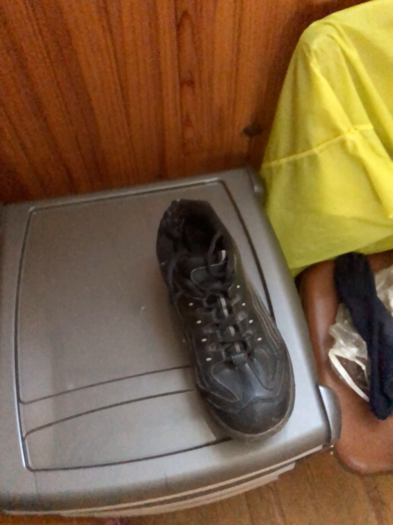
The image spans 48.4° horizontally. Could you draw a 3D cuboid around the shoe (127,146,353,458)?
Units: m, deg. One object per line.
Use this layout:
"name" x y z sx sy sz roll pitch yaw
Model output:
"shoe" 0.026 0.034 0.449 0.110 0.129 0.271 -17 60 -9
